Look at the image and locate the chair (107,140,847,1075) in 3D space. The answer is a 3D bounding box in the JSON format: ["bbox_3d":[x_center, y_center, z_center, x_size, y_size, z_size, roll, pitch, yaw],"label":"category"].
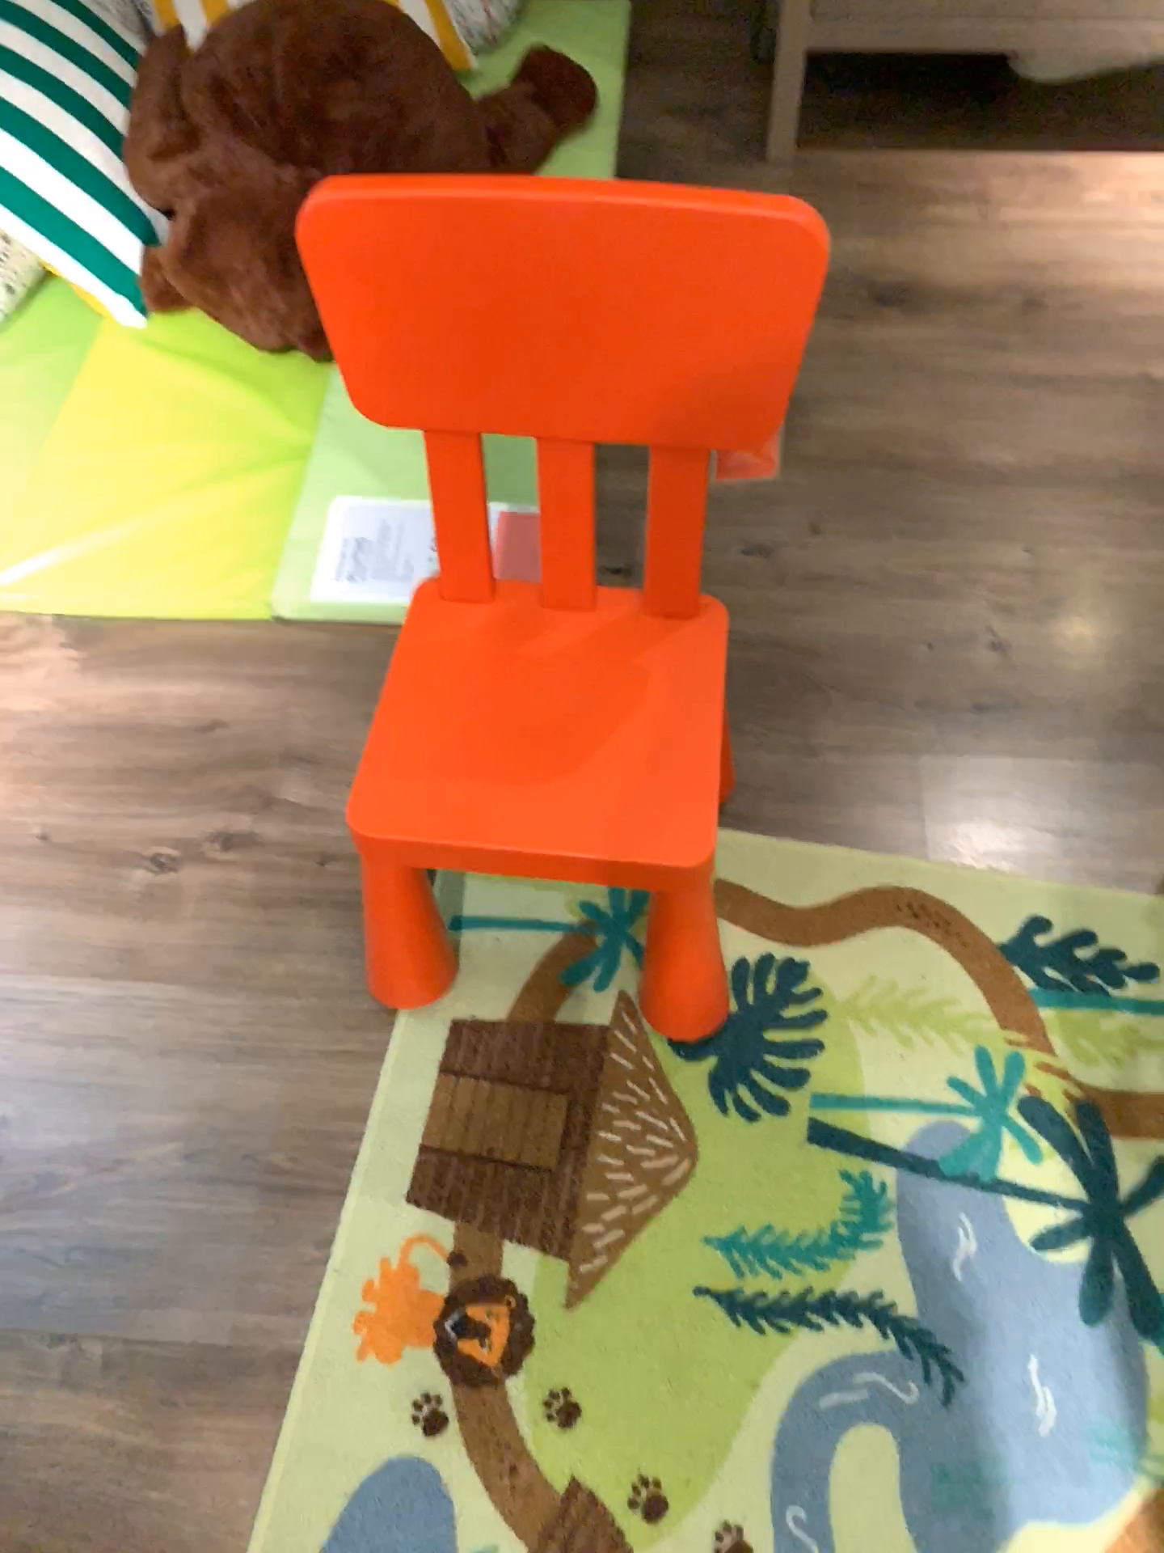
[{"bbox_3d":[-0.026,-0.101,0.994,0.380,0.598,0.461,7,57,6],"label":"chair"}]
